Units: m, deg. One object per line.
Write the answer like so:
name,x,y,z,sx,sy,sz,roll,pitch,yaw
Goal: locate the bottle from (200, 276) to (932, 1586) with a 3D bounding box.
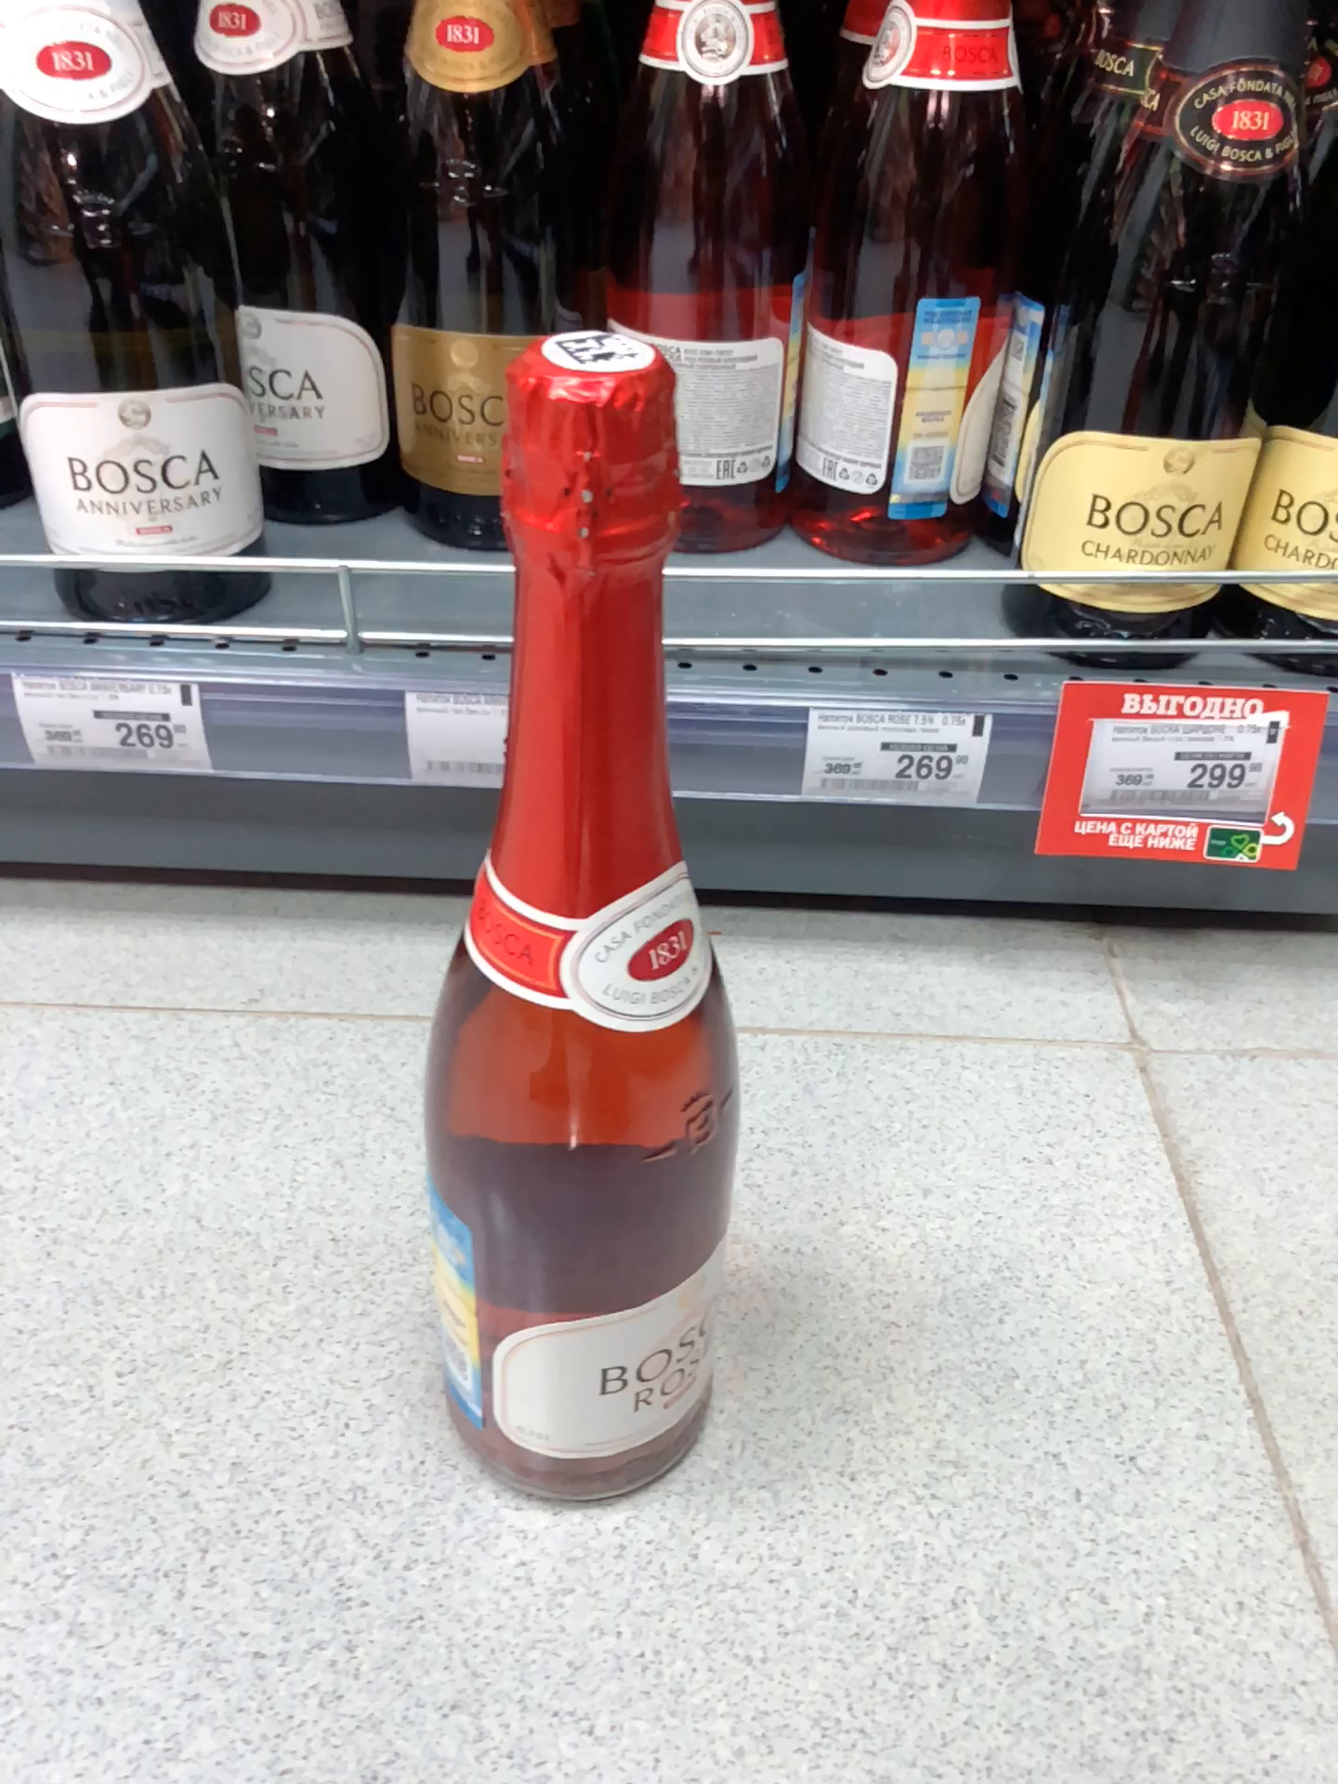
bottle,-0.027,0.027,0.378,0.100,0.317,0.100,2,37,-1
